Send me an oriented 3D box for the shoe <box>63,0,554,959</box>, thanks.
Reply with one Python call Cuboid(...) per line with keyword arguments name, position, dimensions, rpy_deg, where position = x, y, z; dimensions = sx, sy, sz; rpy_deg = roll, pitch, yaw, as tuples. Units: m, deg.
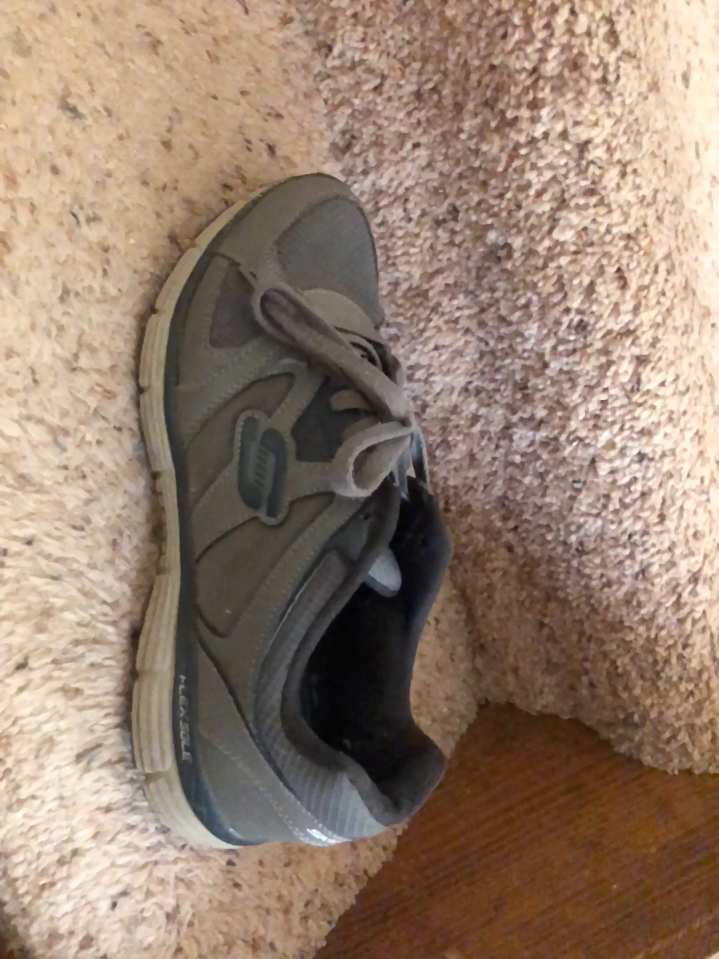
Cuboid(name="shoe", position=(-0.014, 0.002, 0.323), dimensions=(0.111, 0.139, 0.300), rpy_deg=(14, 77, -51))
